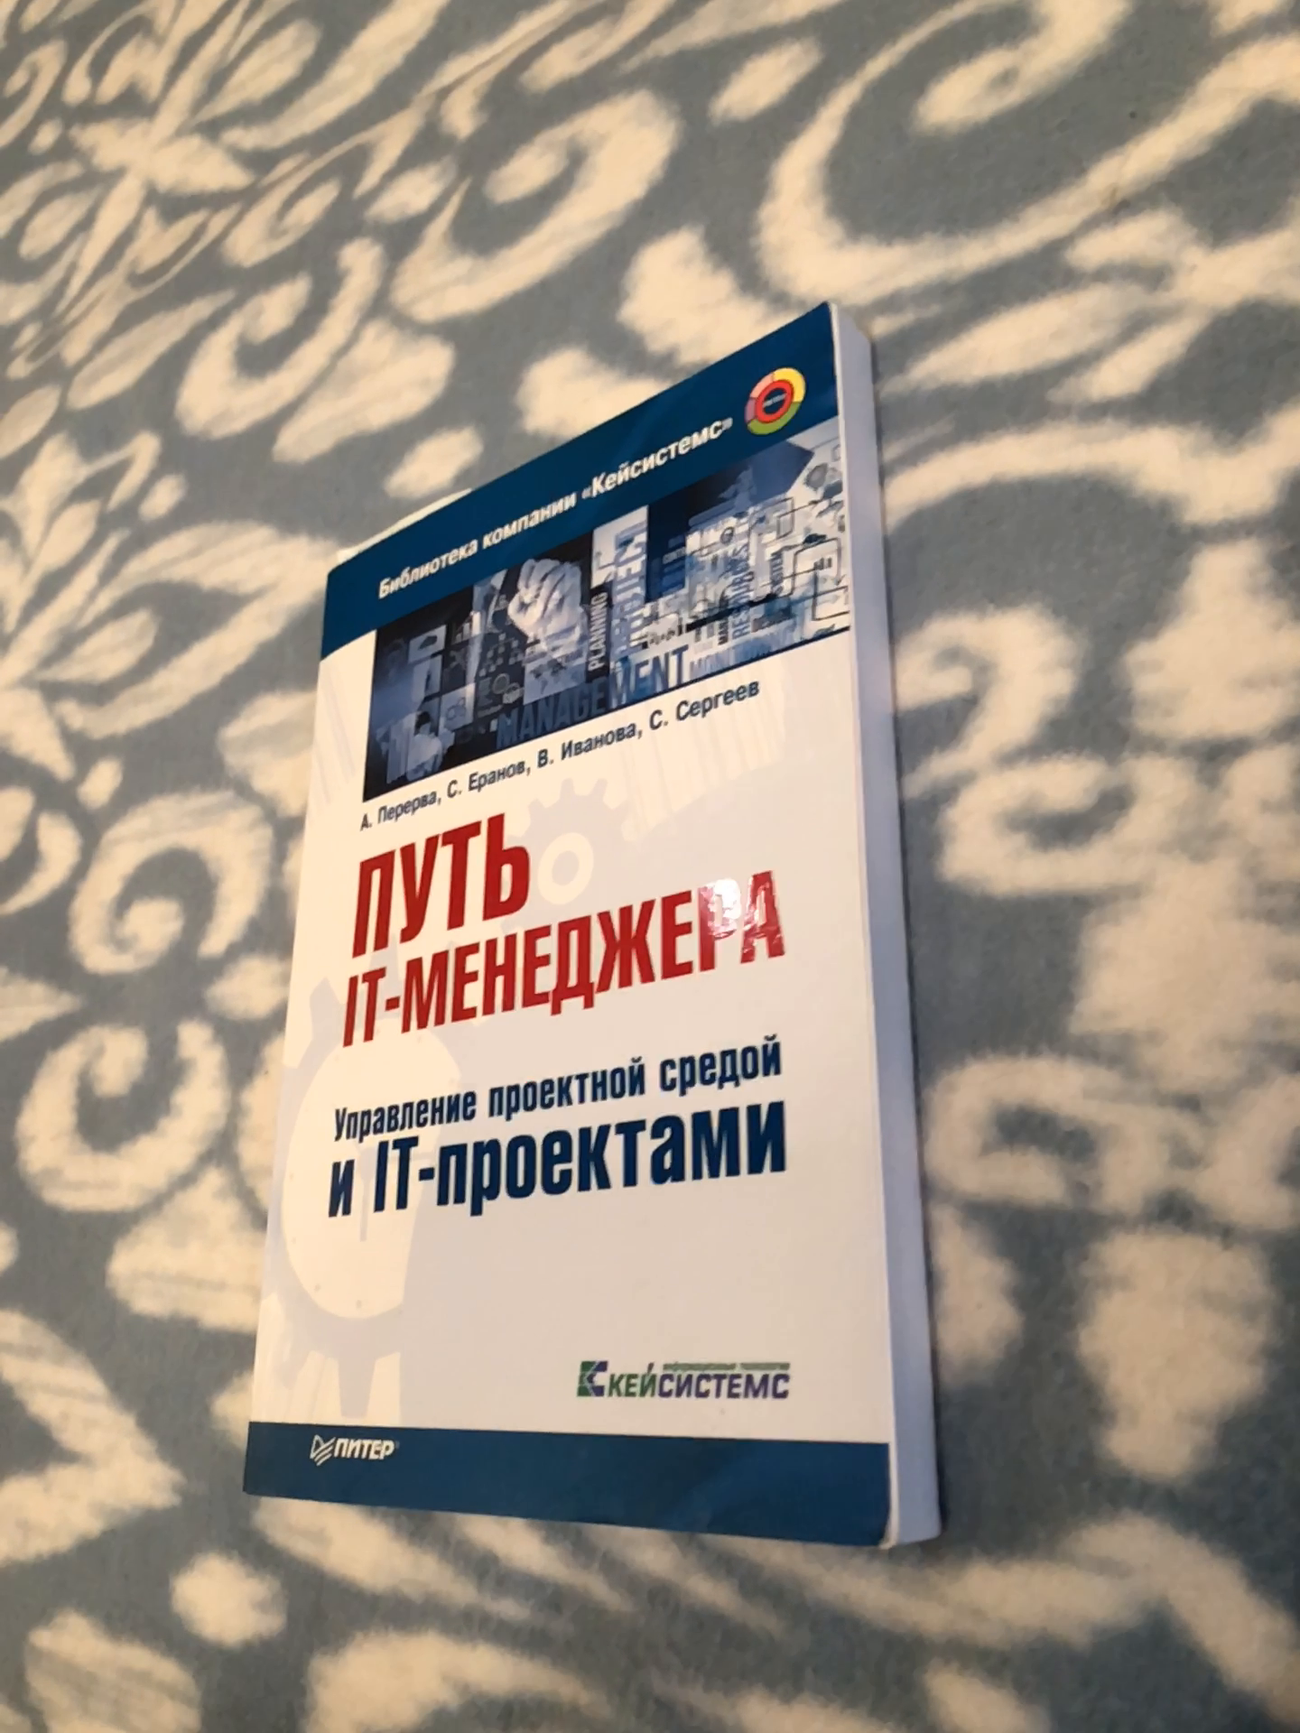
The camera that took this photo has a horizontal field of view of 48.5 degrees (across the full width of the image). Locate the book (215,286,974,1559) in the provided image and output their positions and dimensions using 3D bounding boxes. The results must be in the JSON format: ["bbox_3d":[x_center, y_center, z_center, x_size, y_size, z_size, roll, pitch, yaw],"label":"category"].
[{"bbox_3d":[-0.022,0.013,0.306,0.173,0.019,0.228,-16,65,38],"label":"book"}]
